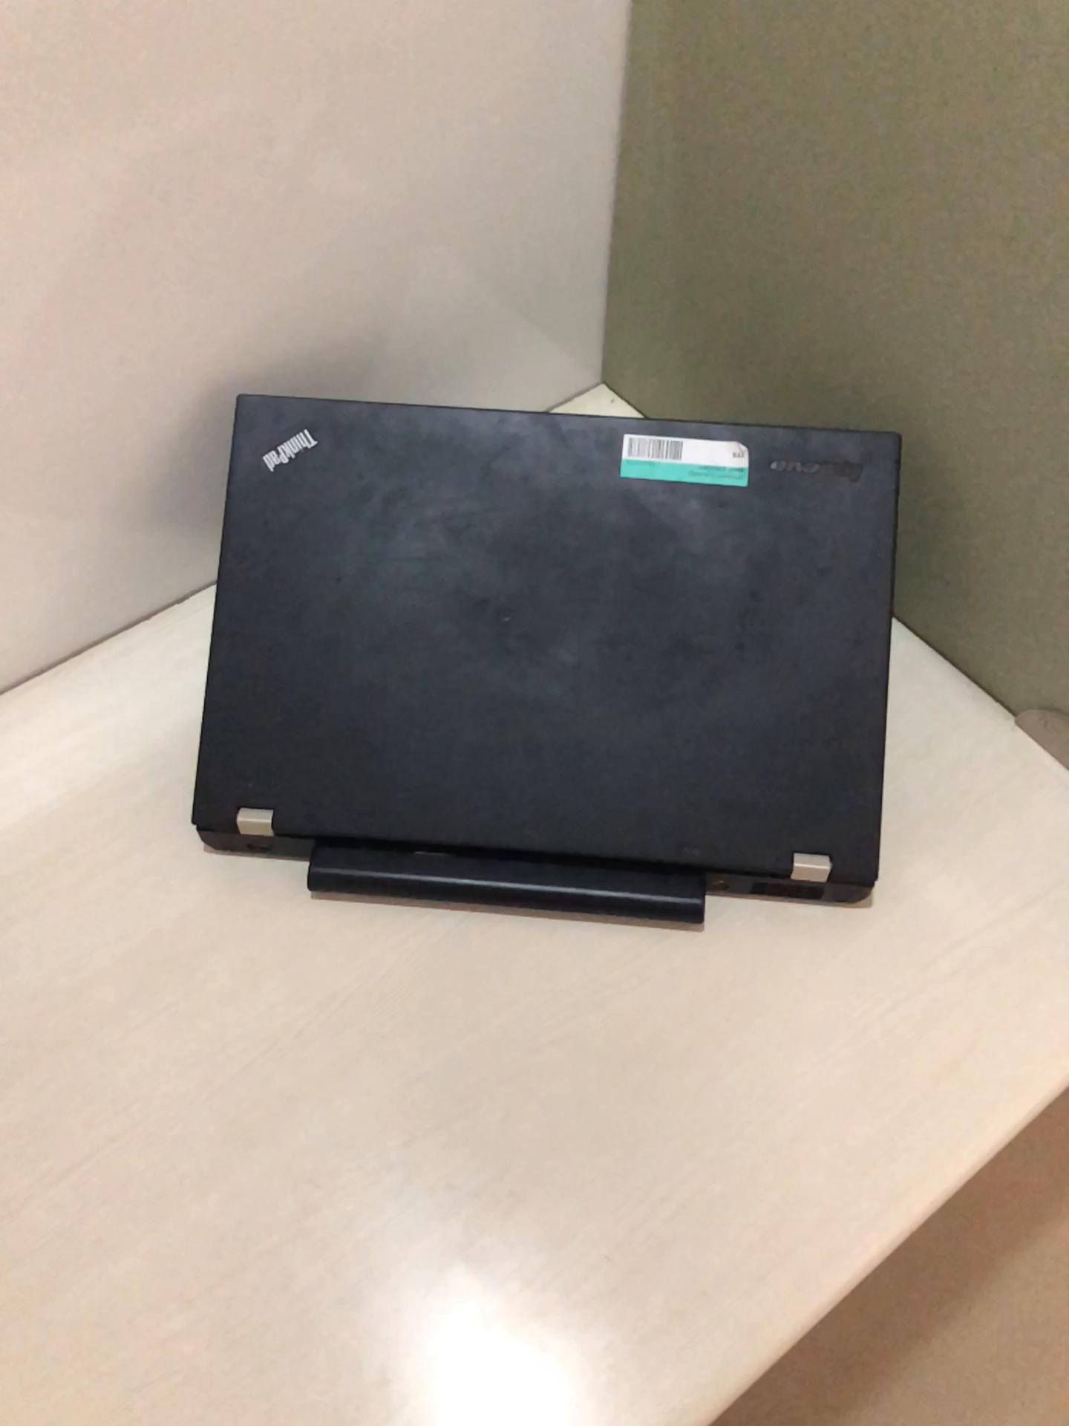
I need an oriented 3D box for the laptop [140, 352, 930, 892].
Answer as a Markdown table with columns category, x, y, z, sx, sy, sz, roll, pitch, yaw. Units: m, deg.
| category | x | y | z | sx | sy | sz | roll | pitch | yaw |
| --- | --- | --- | --- | --- | --- | --- | --- | --- | --- |
| laptop | 0.008 | -0.055 | 0.643 | 0.354 | 0.140 | 0.233 | 4 | 56 | 4 |
